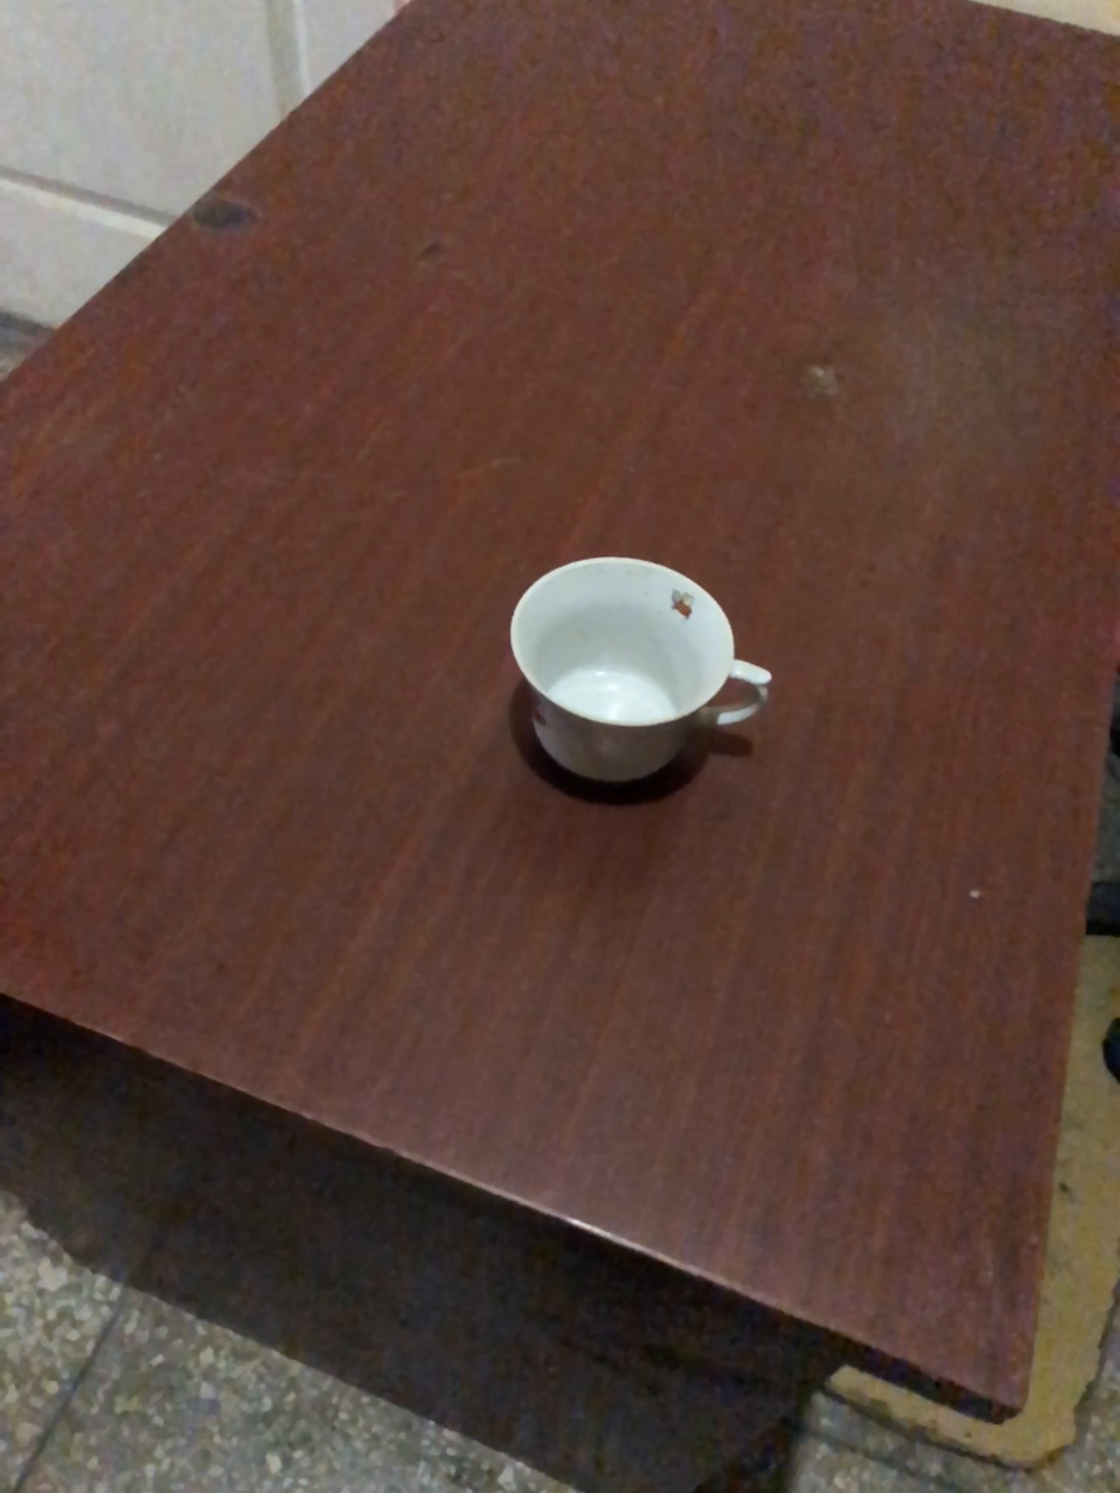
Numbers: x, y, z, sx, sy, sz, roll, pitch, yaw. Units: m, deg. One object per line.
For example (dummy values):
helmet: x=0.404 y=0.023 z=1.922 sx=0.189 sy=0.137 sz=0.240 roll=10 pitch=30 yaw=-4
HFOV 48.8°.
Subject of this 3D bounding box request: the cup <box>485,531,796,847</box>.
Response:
cup: x=0.034 y=-0.026 z=0.517 sx=0.110 sy=0.059 sz=0.100 roll=11 pitch=53 yaw=5
